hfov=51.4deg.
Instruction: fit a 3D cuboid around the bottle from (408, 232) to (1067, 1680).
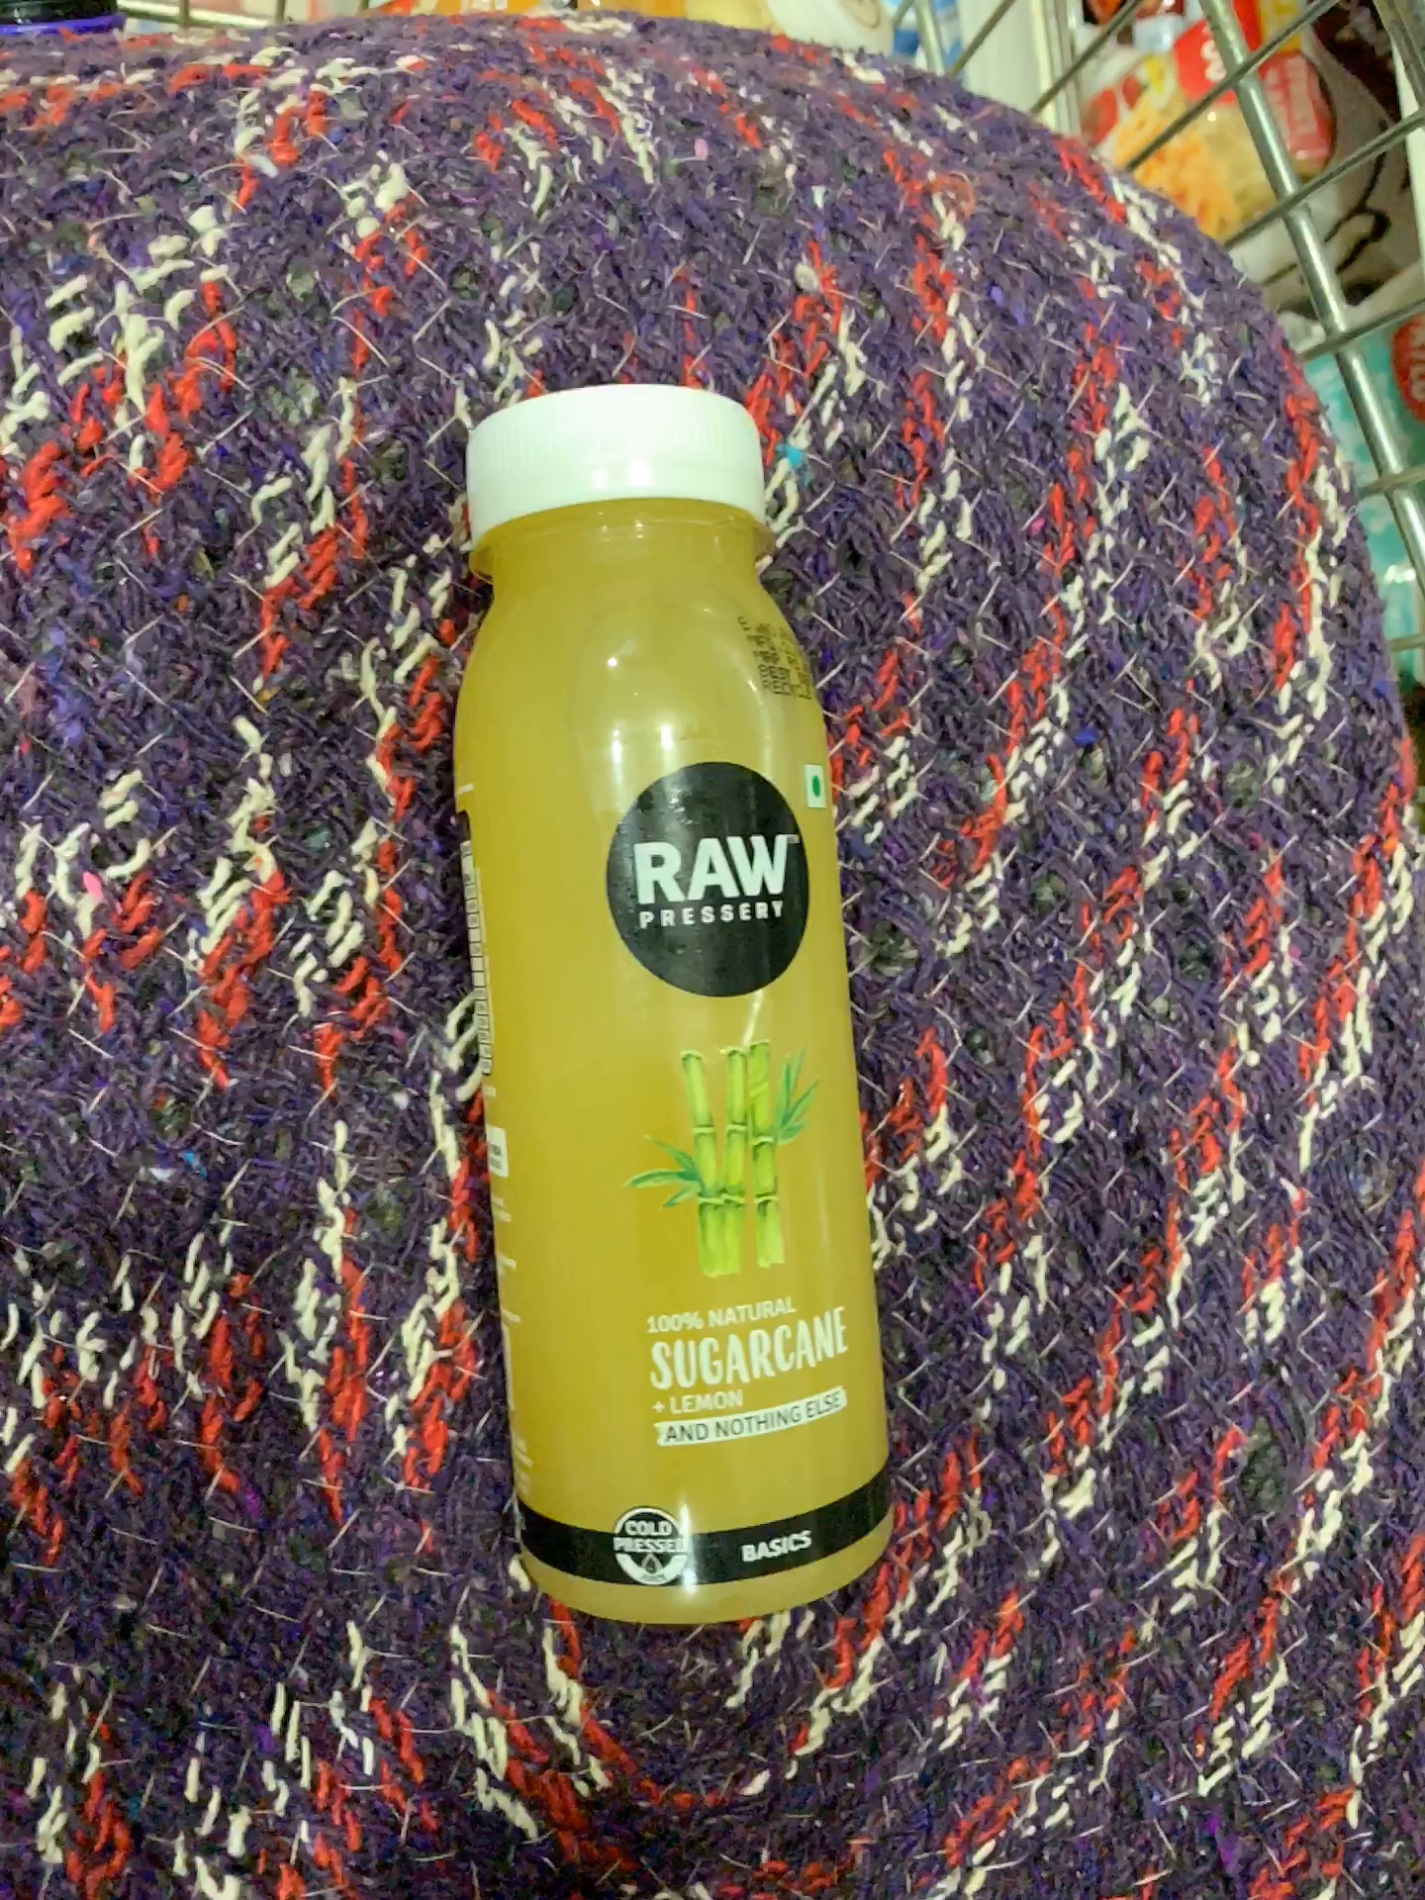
[{"bbox_3d":[0.001,-0.001,0.197,0.060,0.050,0.160,-6,92,-20],"label":"bottle"}]
